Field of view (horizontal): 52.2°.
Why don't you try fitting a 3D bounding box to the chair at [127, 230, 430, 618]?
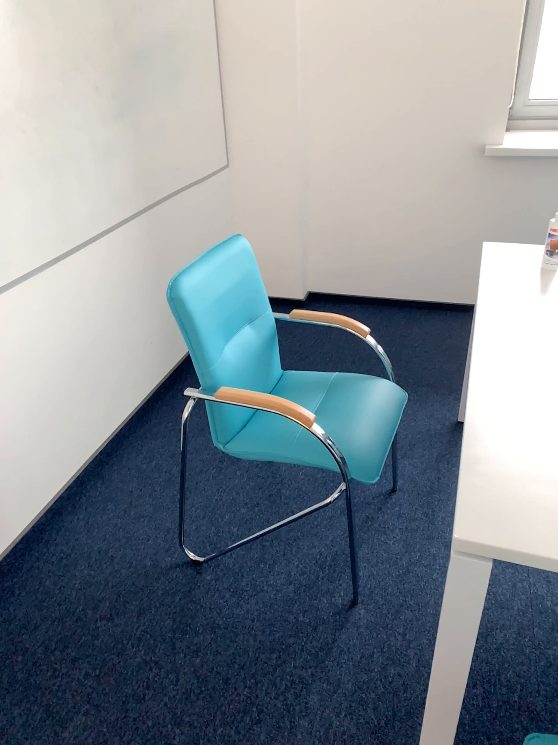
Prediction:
[{"bbox_3d":[0.049,0.124,1.769,0.650,0.925,0.583,9,33,20],"label":"chair"}]
